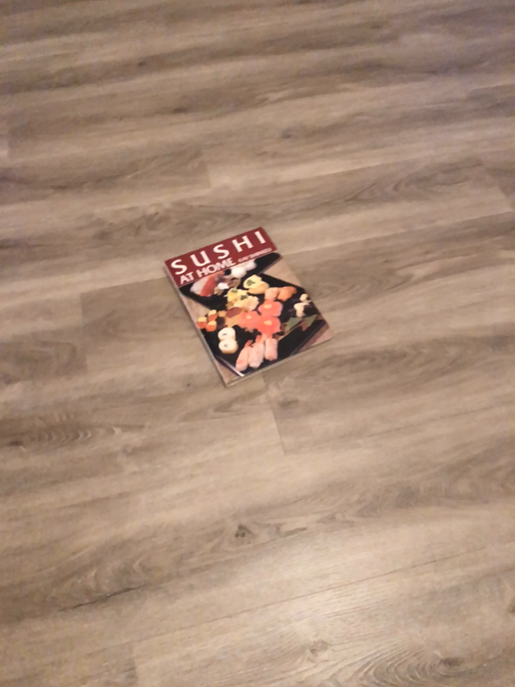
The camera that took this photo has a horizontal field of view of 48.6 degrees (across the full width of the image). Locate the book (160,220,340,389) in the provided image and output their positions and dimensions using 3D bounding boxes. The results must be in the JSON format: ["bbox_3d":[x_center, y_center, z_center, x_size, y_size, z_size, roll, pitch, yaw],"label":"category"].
[{"bbox_3d":[-0.018,-0.073,0.912,0.190,0.030,0.259,-23,59,-14],"label":"book"}]
